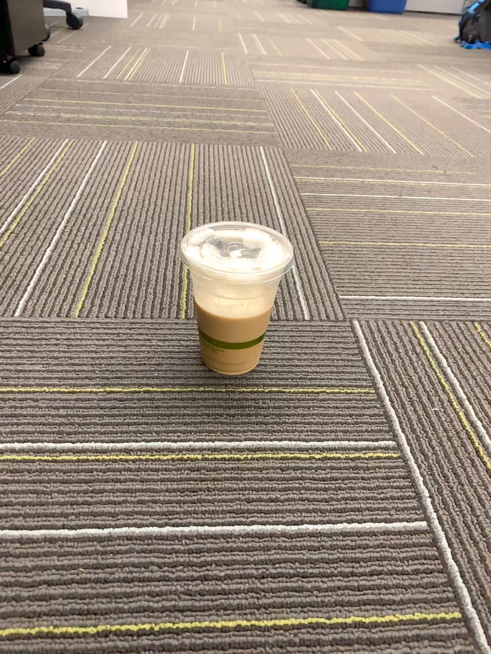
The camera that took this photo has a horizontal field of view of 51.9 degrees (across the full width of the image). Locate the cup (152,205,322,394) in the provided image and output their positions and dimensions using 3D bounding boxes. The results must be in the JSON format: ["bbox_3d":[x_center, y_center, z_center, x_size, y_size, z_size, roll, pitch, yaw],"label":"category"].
[{"bbox_3d":[-0.010,-0.029,0.450,0.100,0.109,0.100,3,36,-2],"label":"cup"}]
